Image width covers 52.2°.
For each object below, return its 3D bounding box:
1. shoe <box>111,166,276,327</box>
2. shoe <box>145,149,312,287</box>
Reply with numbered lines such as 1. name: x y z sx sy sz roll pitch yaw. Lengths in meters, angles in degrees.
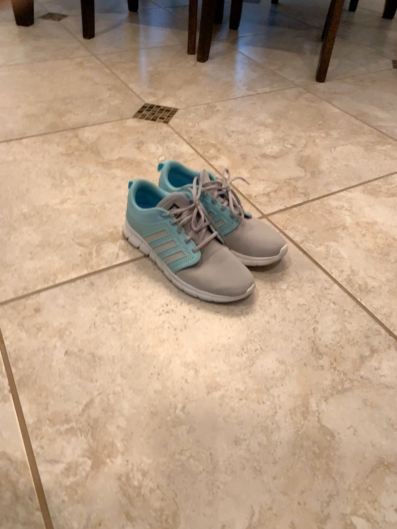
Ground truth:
1. shoe: -0.019 -0.042 0.670 0.106 0.108 0.272 -30 53 -30
2. shoe: 0.042 -0.092 0.722 0.271 0.108 0.107 30 50 25
